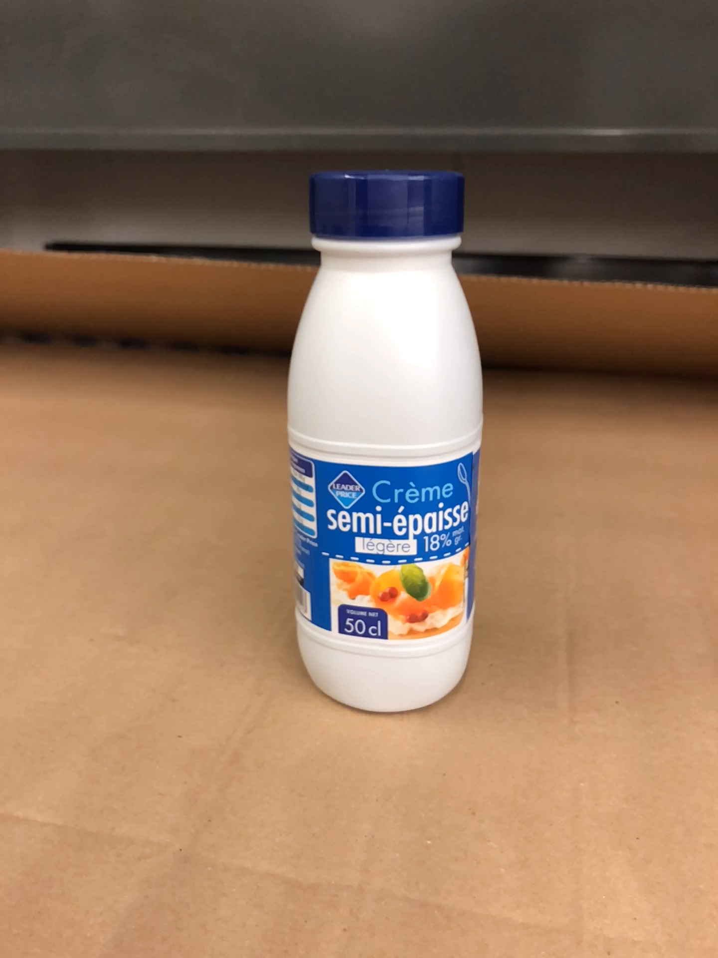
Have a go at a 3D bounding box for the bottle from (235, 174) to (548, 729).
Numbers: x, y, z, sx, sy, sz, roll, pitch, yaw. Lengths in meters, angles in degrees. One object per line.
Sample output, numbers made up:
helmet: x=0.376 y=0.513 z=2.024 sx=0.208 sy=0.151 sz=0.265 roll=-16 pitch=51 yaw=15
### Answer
bottle: x=0.010 y=-0.013 z=0.273 sx=0.080 sy=0.169 sz=0.080 roll=0 pitch=21 yaw=0
